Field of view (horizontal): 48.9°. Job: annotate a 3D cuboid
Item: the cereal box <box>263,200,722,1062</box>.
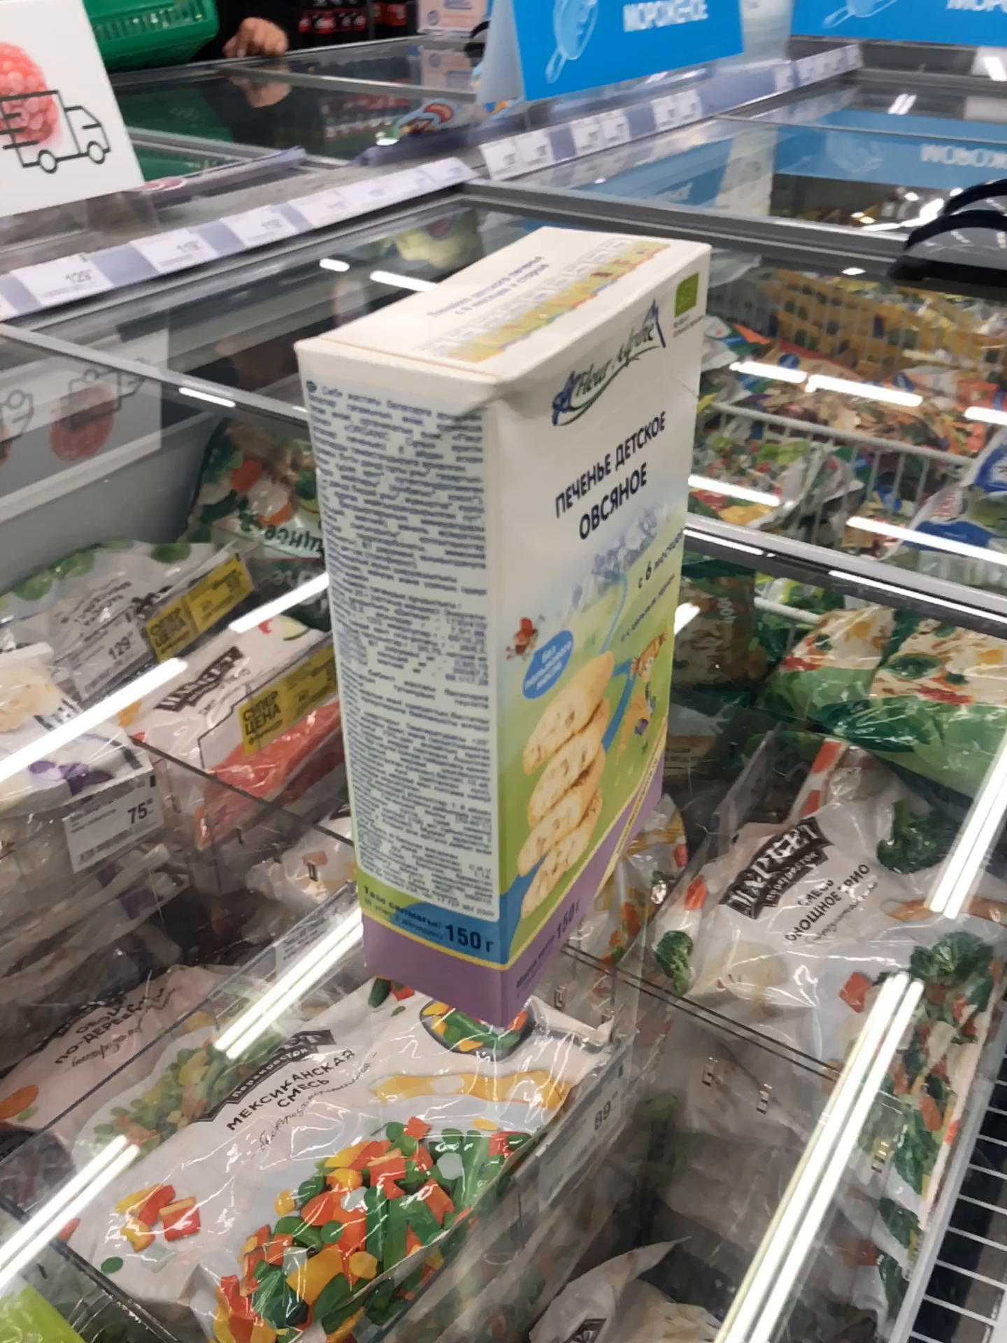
[{"bbox_3d":[0.005,-0.011,0.295,0.050,0.189,0.121,16,37,23],"label":"cereal box"}]
